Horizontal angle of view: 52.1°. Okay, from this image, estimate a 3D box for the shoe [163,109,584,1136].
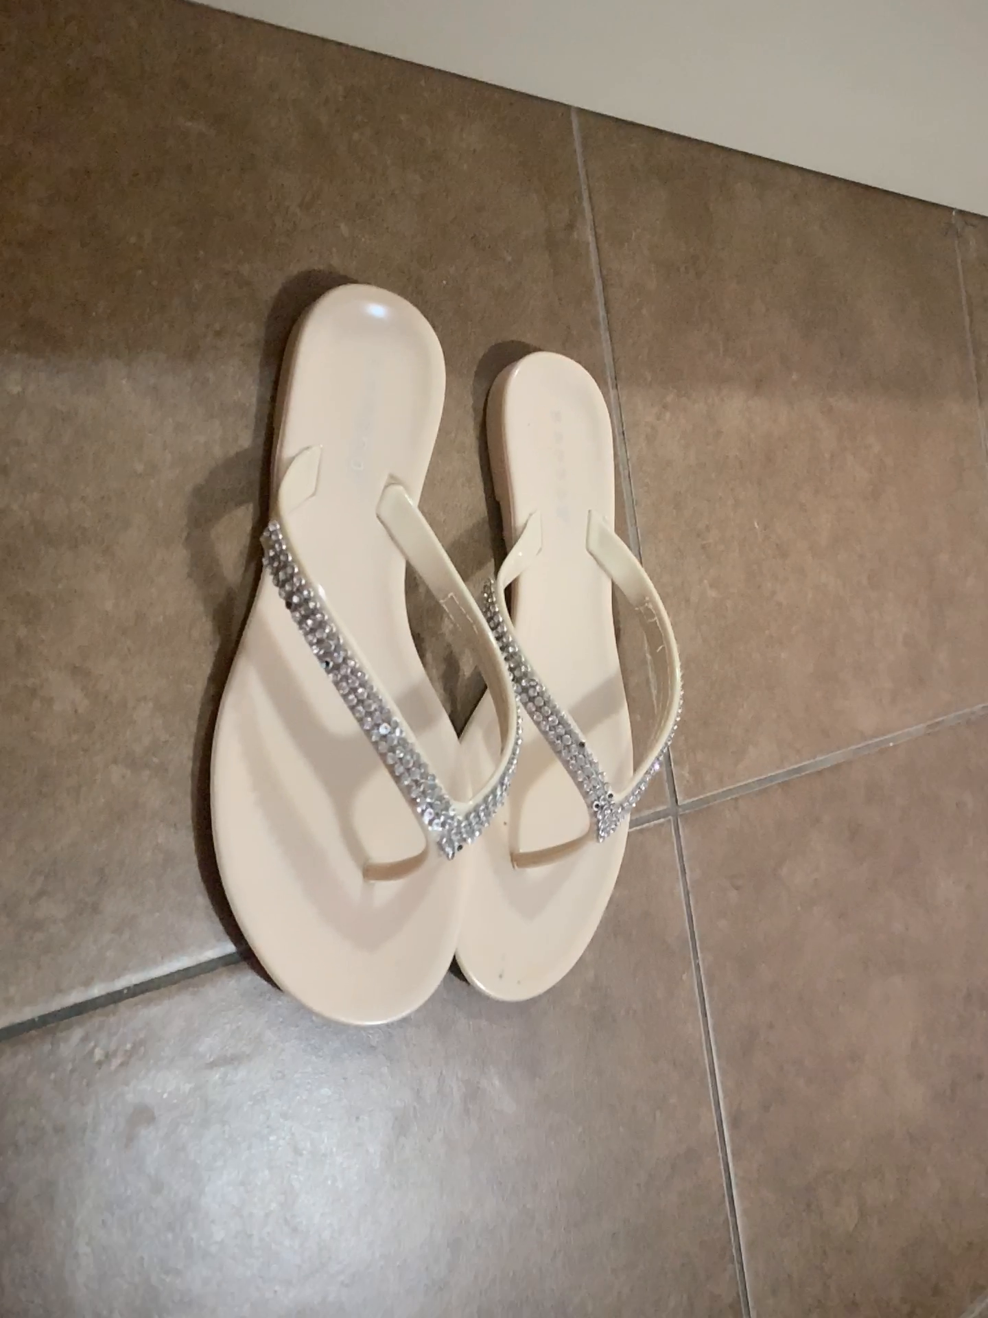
[{"bbox_3d":[-0.033,-0.009,0.298,0.093,0.067,0.249,6,83,-36],"label":"shoe"}]

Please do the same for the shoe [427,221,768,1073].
[{"bbox_3d":[0.038,-0.003,0.348,0.092,0.067,0.249,6,83,-36],"label":"shoe"}]
